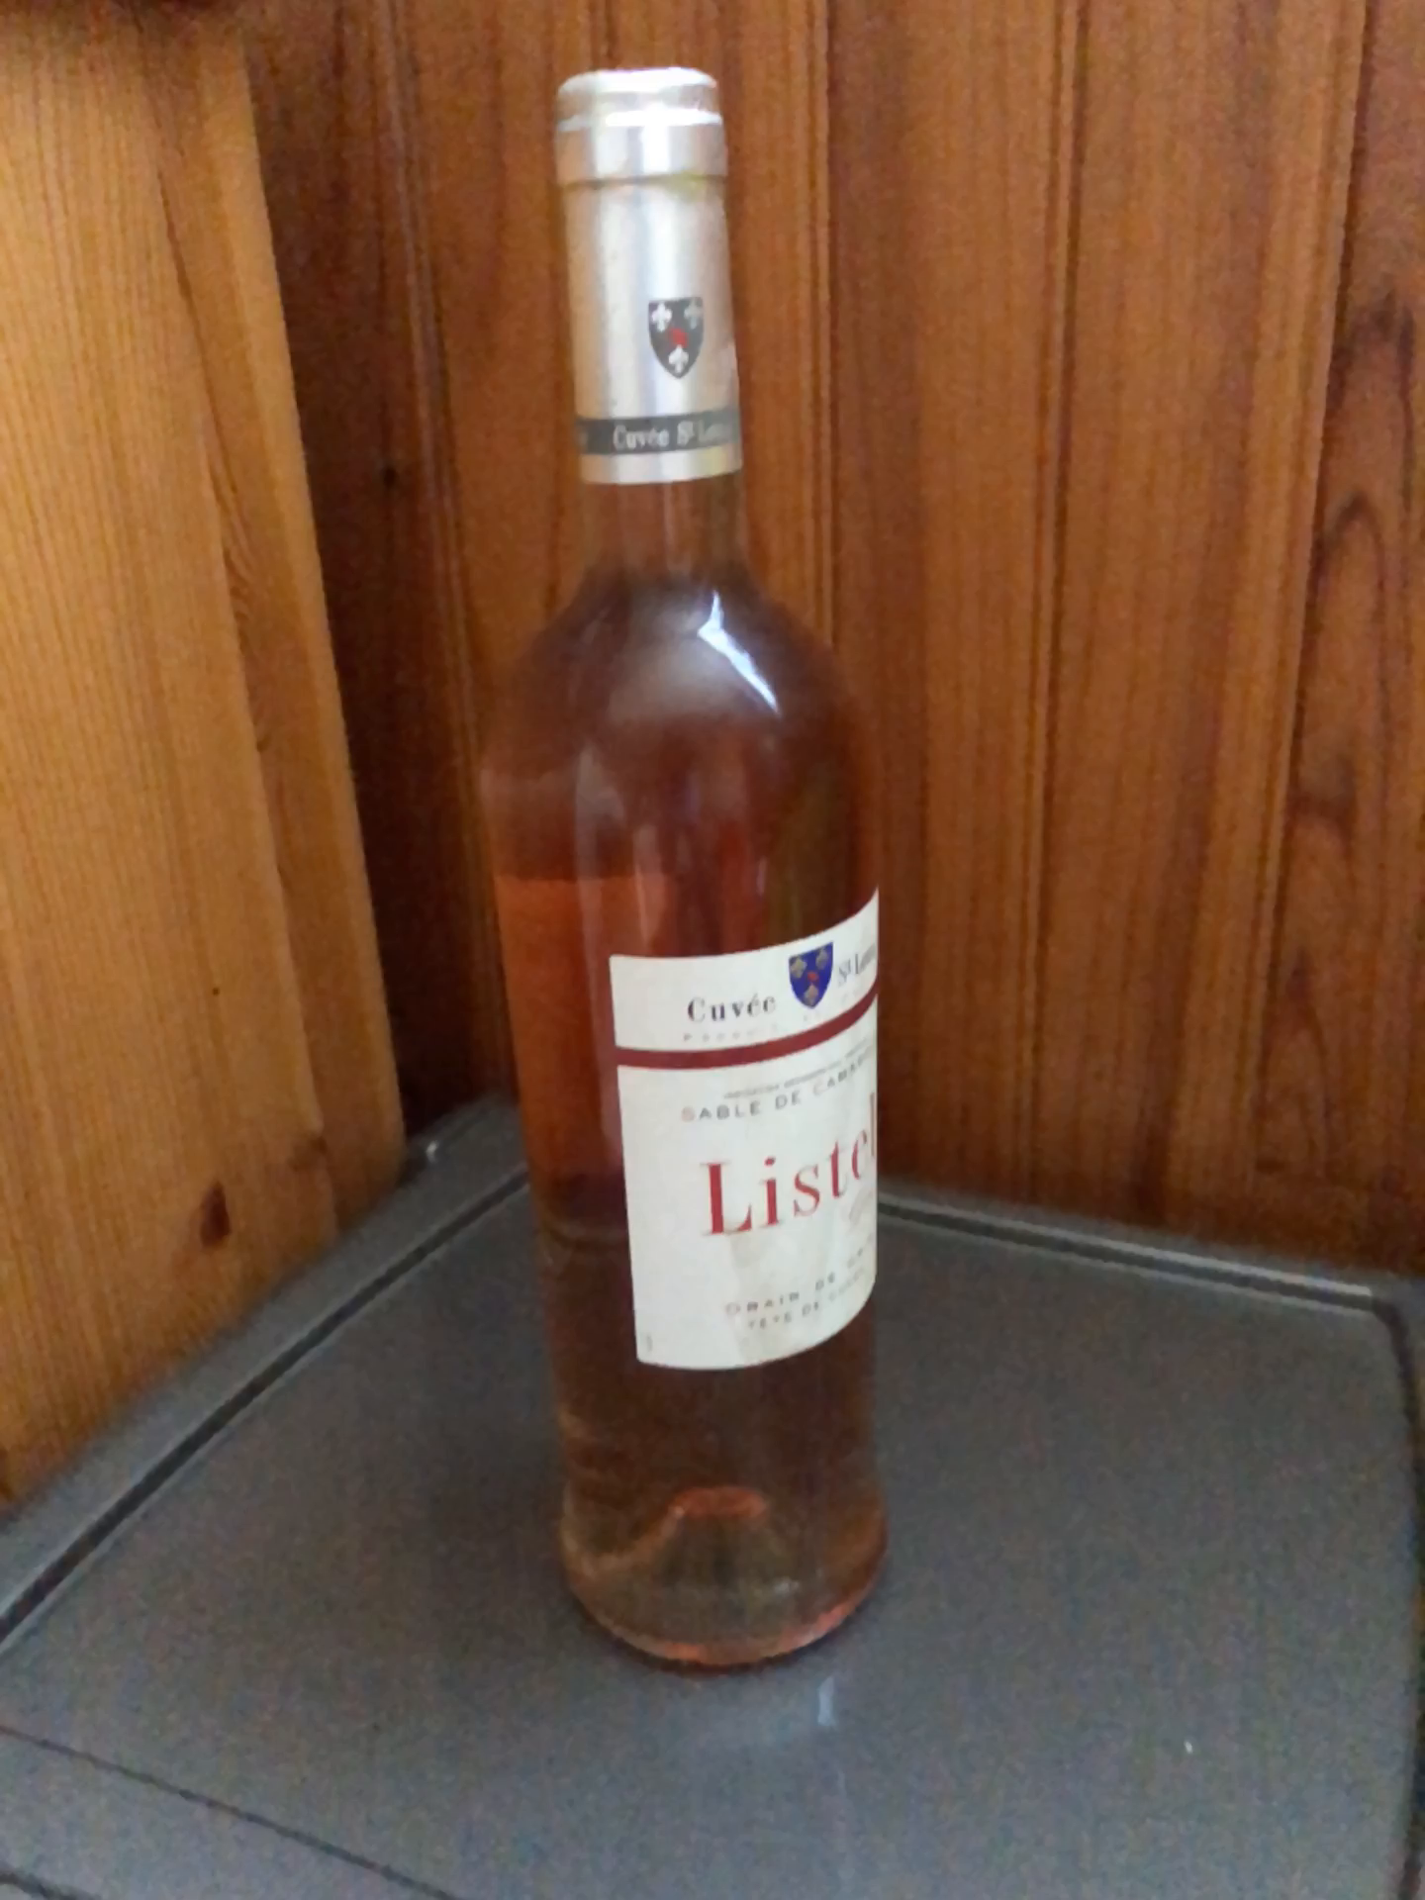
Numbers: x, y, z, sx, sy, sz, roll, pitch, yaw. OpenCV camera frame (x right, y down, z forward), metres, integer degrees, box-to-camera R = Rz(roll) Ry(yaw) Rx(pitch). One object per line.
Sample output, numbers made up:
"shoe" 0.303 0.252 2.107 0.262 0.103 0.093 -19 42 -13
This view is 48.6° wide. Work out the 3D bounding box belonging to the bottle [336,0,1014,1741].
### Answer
"bottle" -0.001 -0.006 0.319 0.080 0.318 0.080 -2 22 1
